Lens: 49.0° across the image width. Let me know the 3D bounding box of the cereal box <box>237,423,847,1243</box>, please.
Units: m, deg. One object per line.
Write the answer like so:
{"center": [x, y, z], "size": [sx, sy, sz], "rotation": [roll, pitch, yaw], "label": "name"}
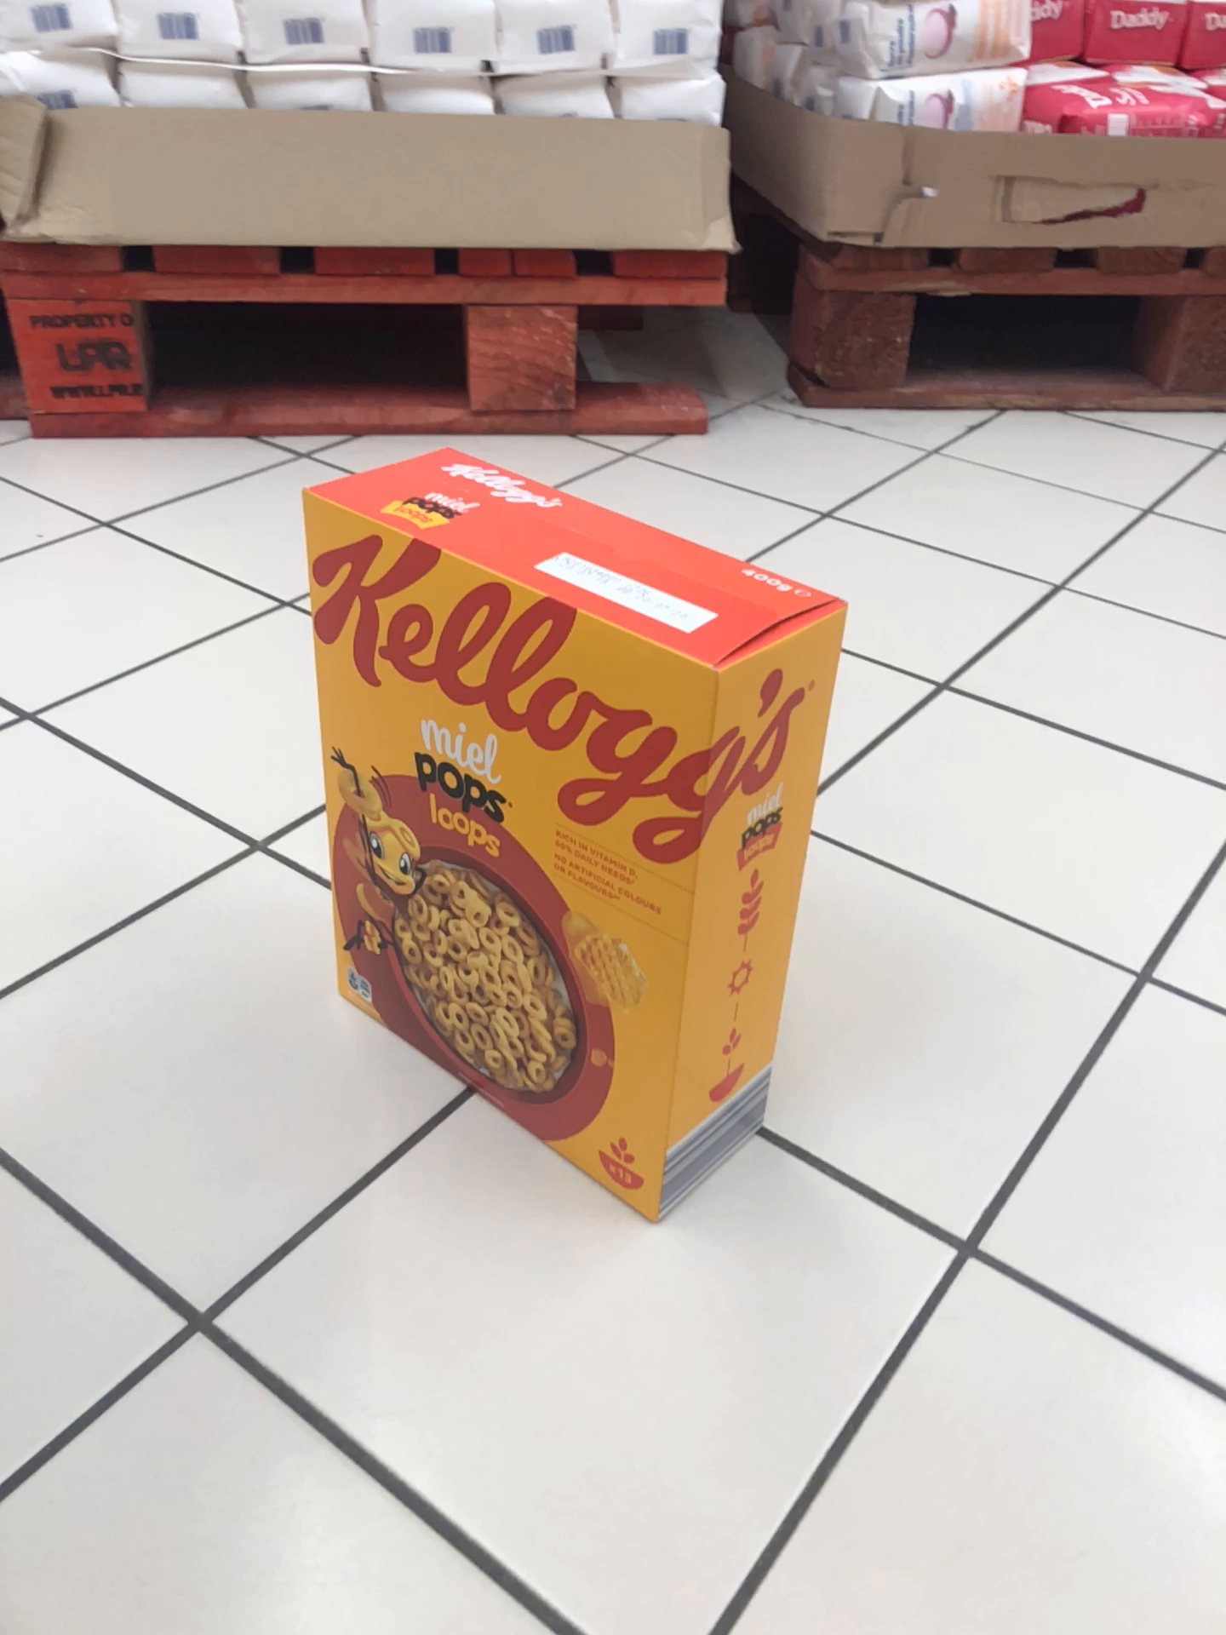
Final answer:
{"center": [-0.033, 0.002, 0.509], "size": [0.190, 0.239, 0.091], "rotation": [28, 41, 31], "label": "cereal box"}
